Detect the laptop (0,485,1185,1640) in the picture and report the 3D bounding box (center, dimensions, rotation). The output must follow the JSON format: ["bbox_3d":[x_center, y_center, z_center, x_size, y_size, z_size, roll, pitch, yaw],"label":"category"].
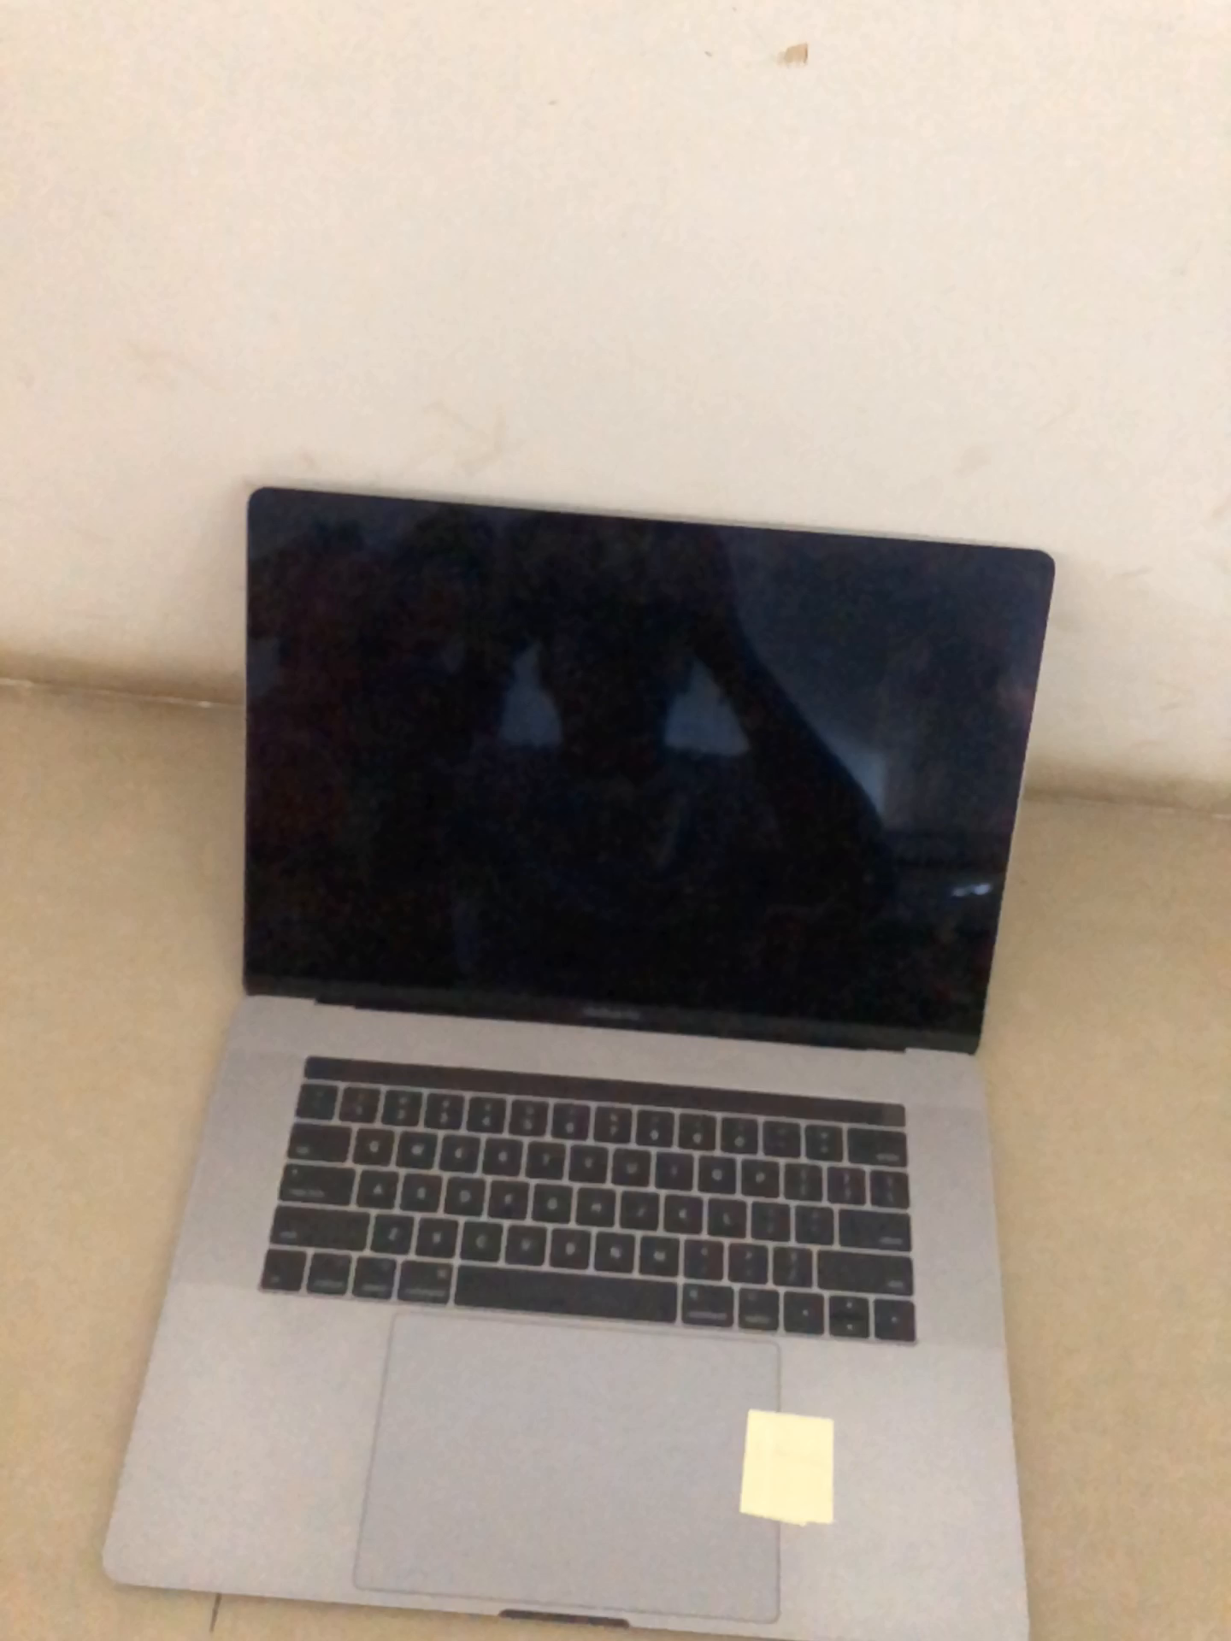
[{"bbox_3d":[-0.005,0.081,0.530,0.329,0.163,0.381,5,58,0],"label":"laptop"}]
